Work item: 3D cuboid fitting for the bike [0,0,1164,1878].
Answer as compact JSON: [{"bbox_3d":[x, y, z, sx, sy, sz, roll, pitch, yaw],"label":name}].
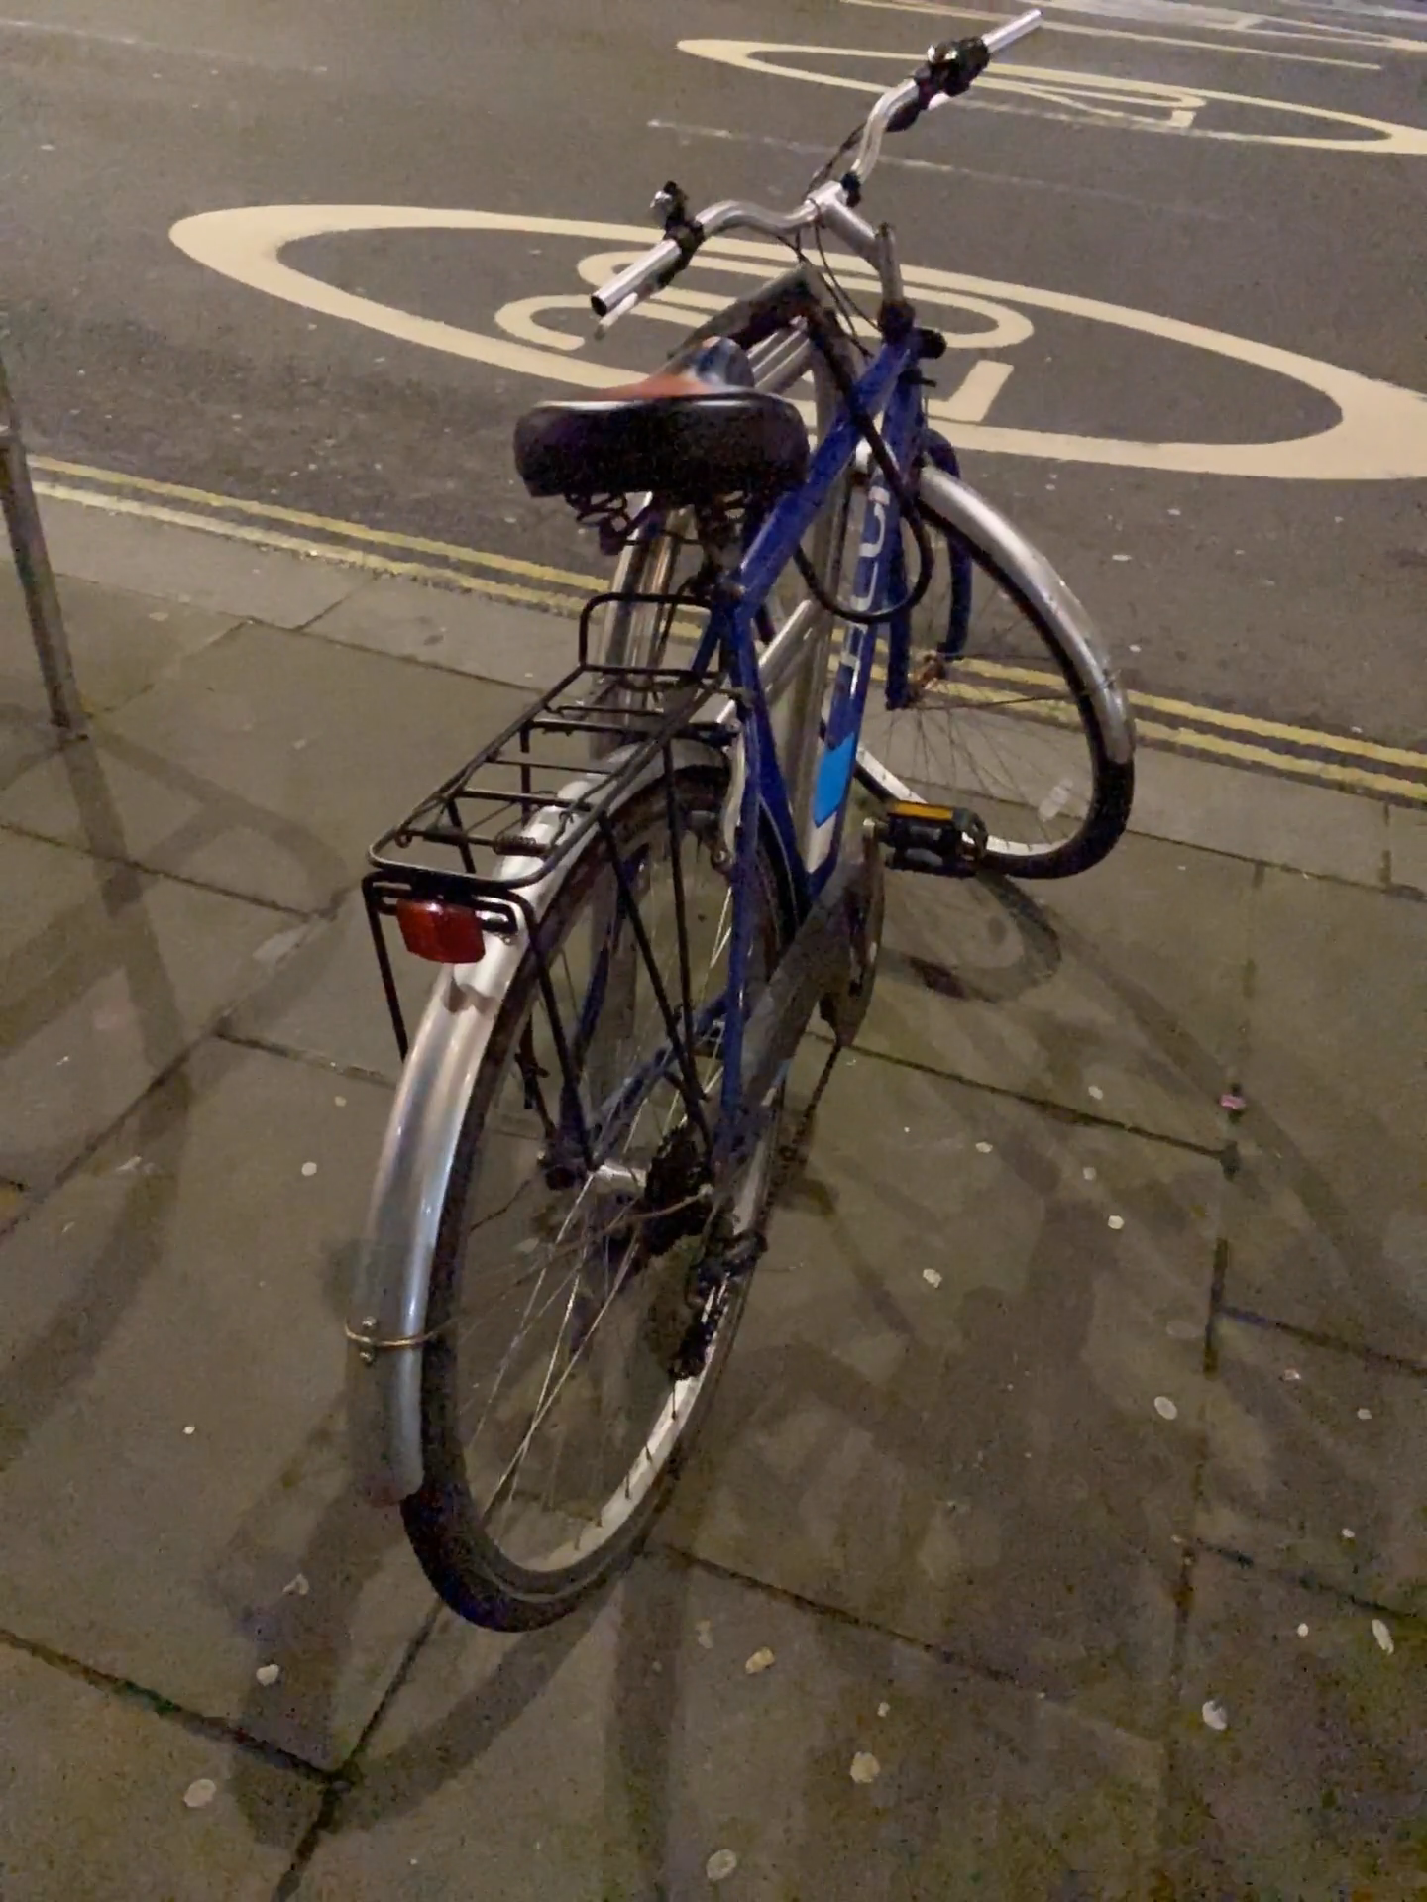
[{"bbox_3d":[-0.065,-0.296,1.439,0.655,1.108,1.604,9,41,7],"label":"bike"}]
